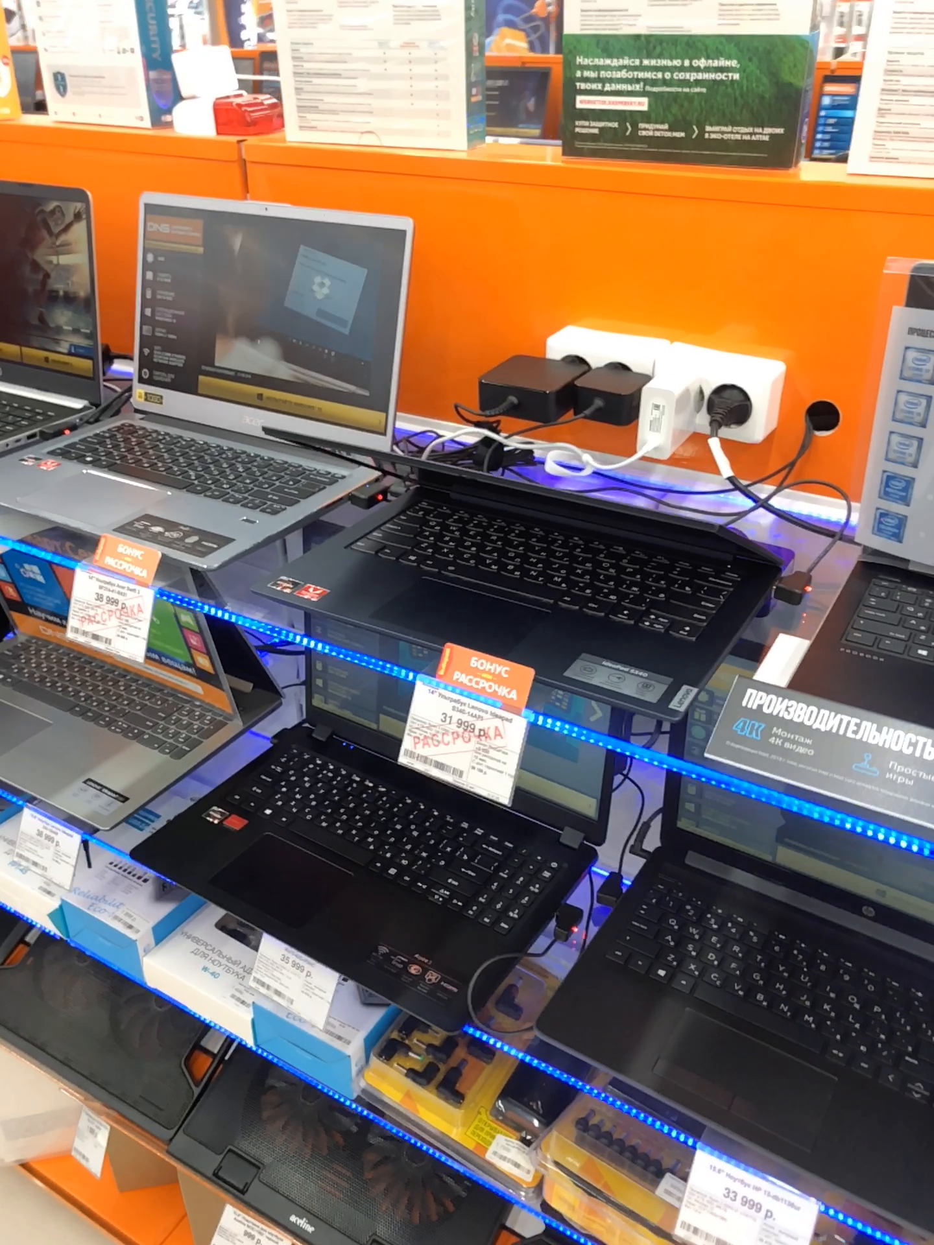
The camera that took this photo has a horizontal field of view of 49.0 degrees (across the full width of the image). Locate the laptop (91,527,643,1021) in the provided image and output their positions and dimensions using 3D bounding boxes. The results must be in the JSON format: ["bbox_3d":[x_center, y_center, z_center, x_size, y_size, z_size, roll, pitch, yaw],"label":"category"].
[{"bbox_3d":[-0.078,0.100,0.865,0.342,0.230,0.246,18,34,31],"label":"laptop"}]

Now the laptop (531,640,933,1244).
[{"bbox_3d":[0.259,0.196,0.694,0.353,0.215,0.226,17,33,30],"label":"laptop"}]

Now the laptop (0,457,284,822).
[{"bbox_3d":[-0.418,-0.001,1.047,0.348,0.207,0.236,17,34,25],"label":"laptop"}]

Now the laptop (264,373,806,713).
[{"bbox_3d":[0.048,-0.076,0.707,0.299,0.106,0.212,16,33,28],"label":"laptop"}]

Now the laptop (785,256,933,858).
[{"bbox_3d":[0.386,-0.064,0.555,0.306,0.213,0.228,17,32,29],"label":"laptop"}]

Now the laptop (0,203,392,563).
[{"bbox_3d":[-0.267,-0.217,0.855,0.316,0.203,0.225,17,33,27],"label":"laptop"}]
